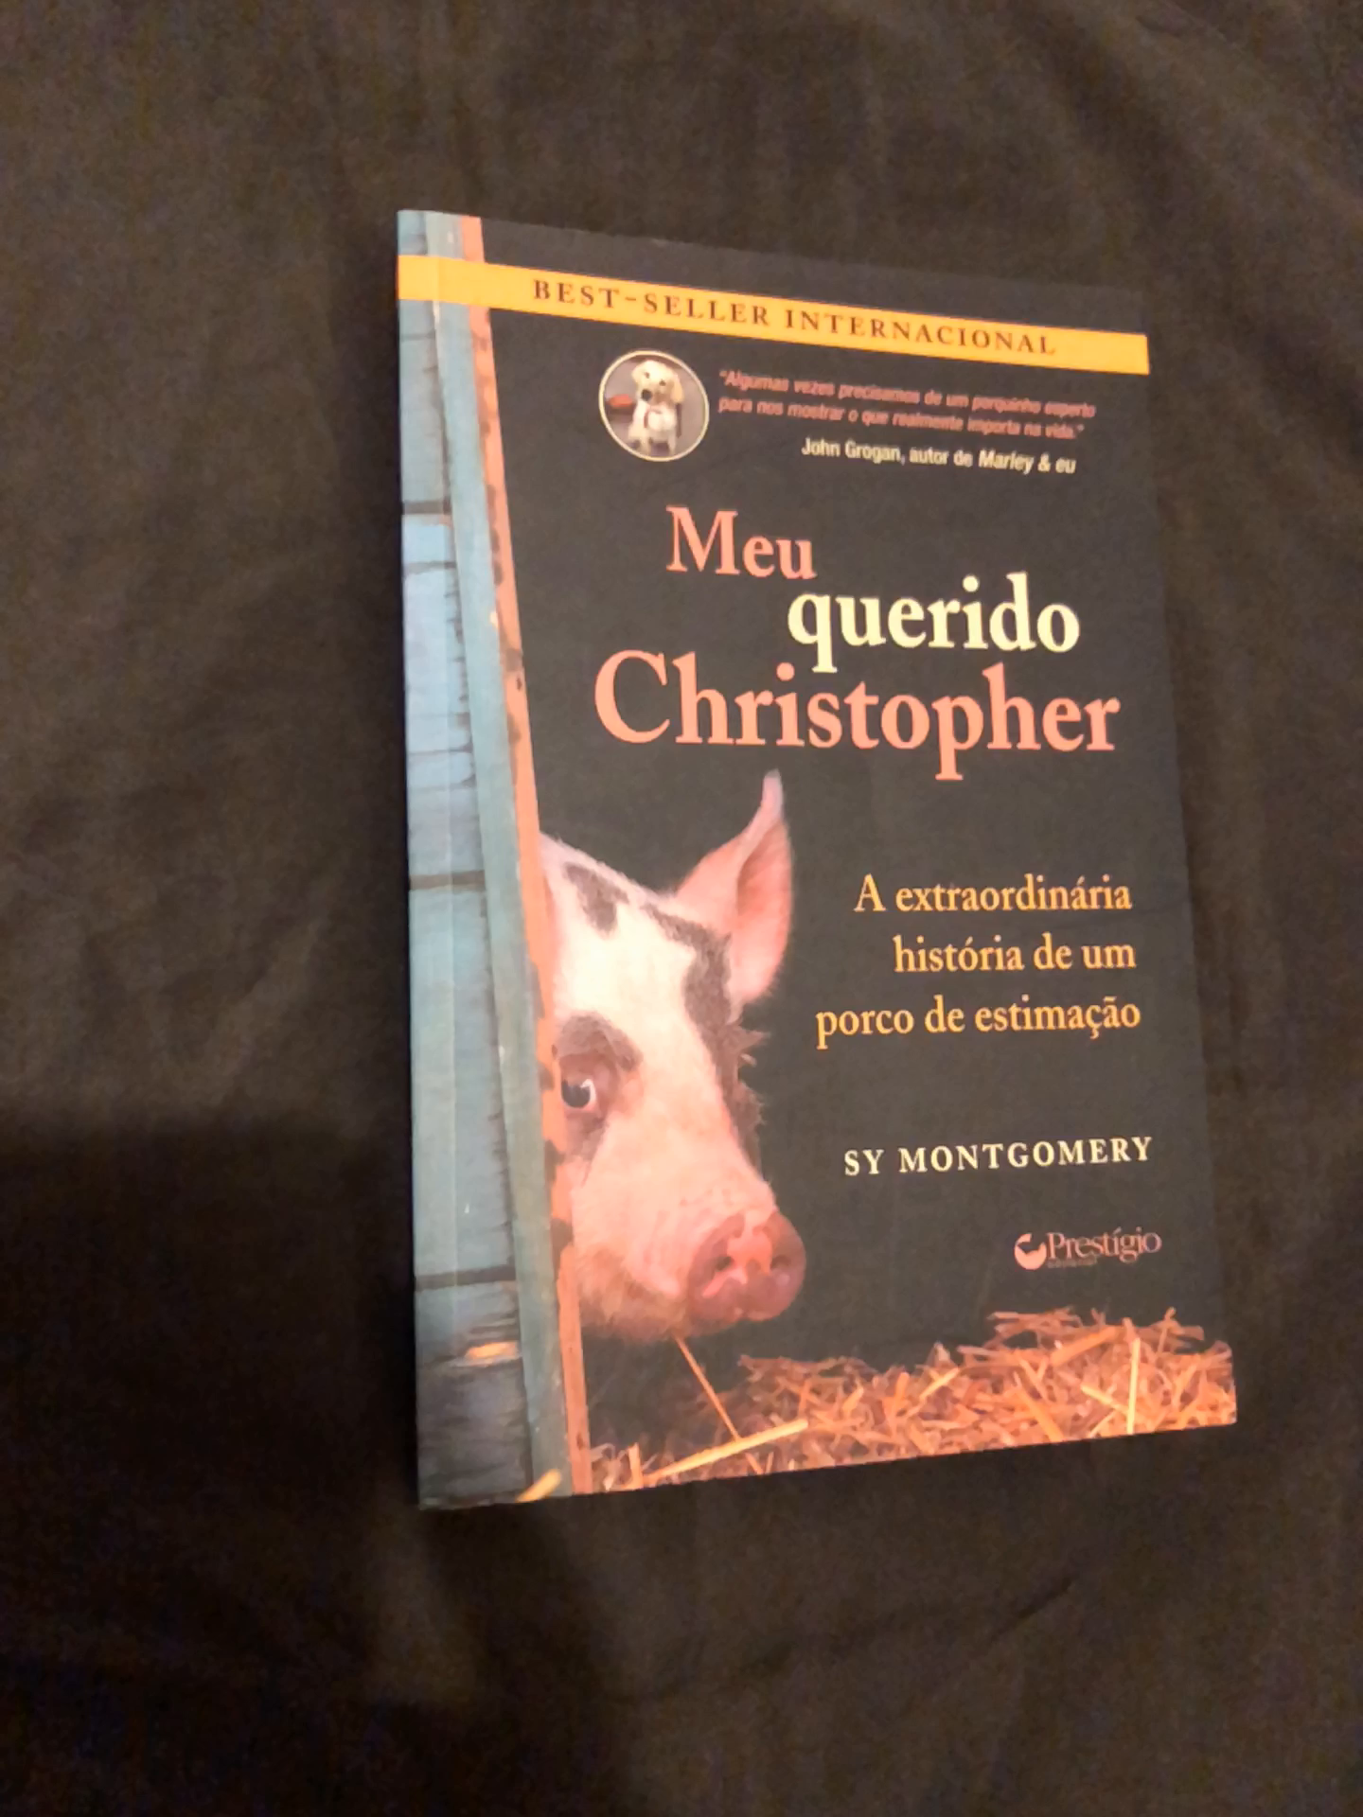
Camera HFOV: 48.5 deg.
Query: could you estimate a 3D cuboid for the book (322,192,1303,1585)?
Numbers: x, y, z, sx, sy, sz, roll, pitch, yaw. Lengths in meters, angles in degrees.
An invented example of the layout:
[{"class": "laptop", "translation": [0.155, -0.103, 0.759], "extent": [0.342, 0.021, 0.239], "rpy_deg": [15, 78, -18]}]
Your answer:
[{"class": "book", "translation": [0.027, -0.009, 0.275], "extent": [0.170, 0.020, 0.220], "rpy_deg": [-2, 85, -19]}]
